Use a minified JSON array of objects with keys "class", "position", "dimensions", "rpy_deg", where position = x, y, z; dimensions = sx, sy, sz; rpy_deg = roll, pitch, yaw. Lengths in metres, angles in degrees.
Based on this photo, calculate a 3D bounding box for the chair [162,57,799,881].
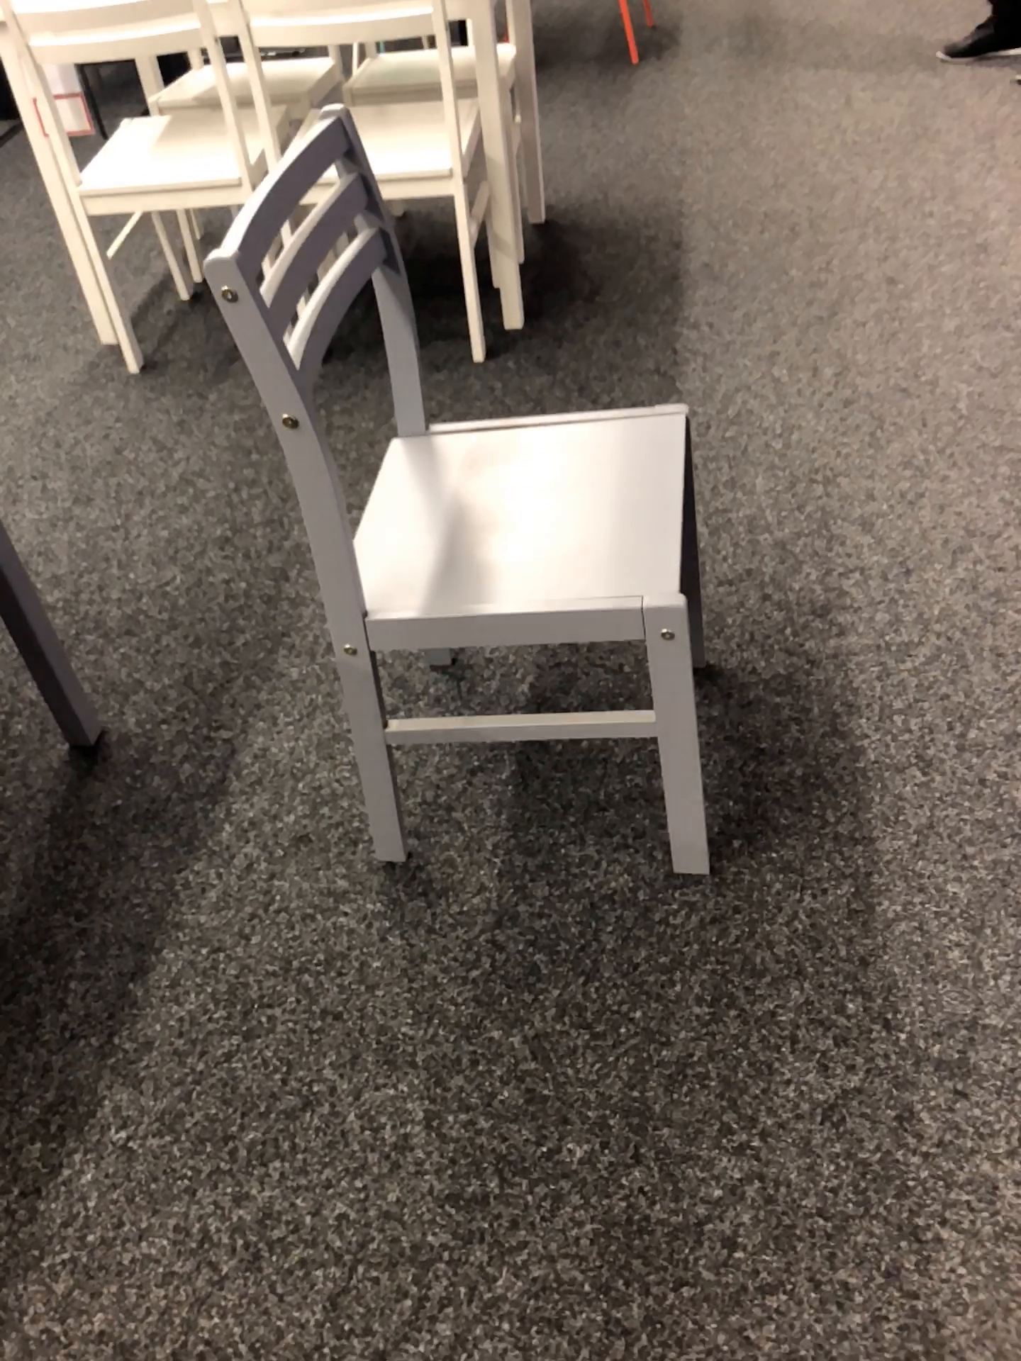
[{"class":"chair","position":[0.026,-0.208,1.286],"dimensions":[0.490,0.766,0.493],"rpy_deg":[-1,42,7]}]
